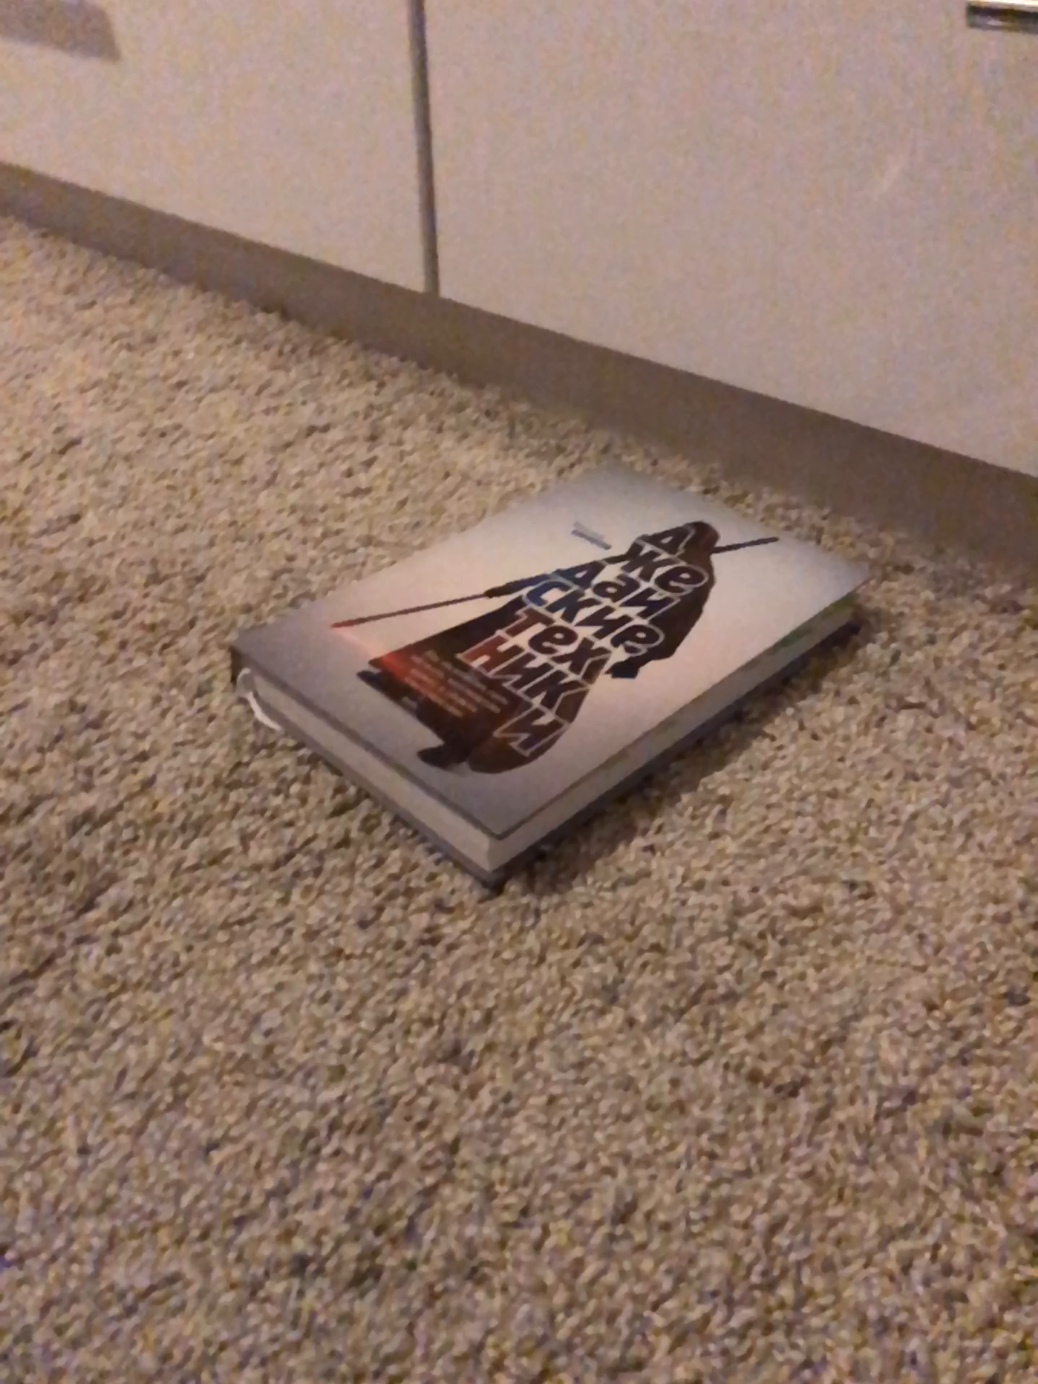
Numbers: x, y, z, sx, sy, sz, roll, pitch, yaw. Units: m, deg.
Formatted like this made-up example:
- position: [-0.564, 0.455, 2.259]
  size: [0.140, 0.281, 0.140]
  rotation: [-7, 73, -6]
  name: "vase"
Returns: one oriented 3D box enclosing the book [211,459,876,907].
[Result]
- position: [0.015, -0.023, 0.454]
  size: [0.221, 0.026, 0.150]
  rotation: [-31, 47, -34]
  name: "book"
